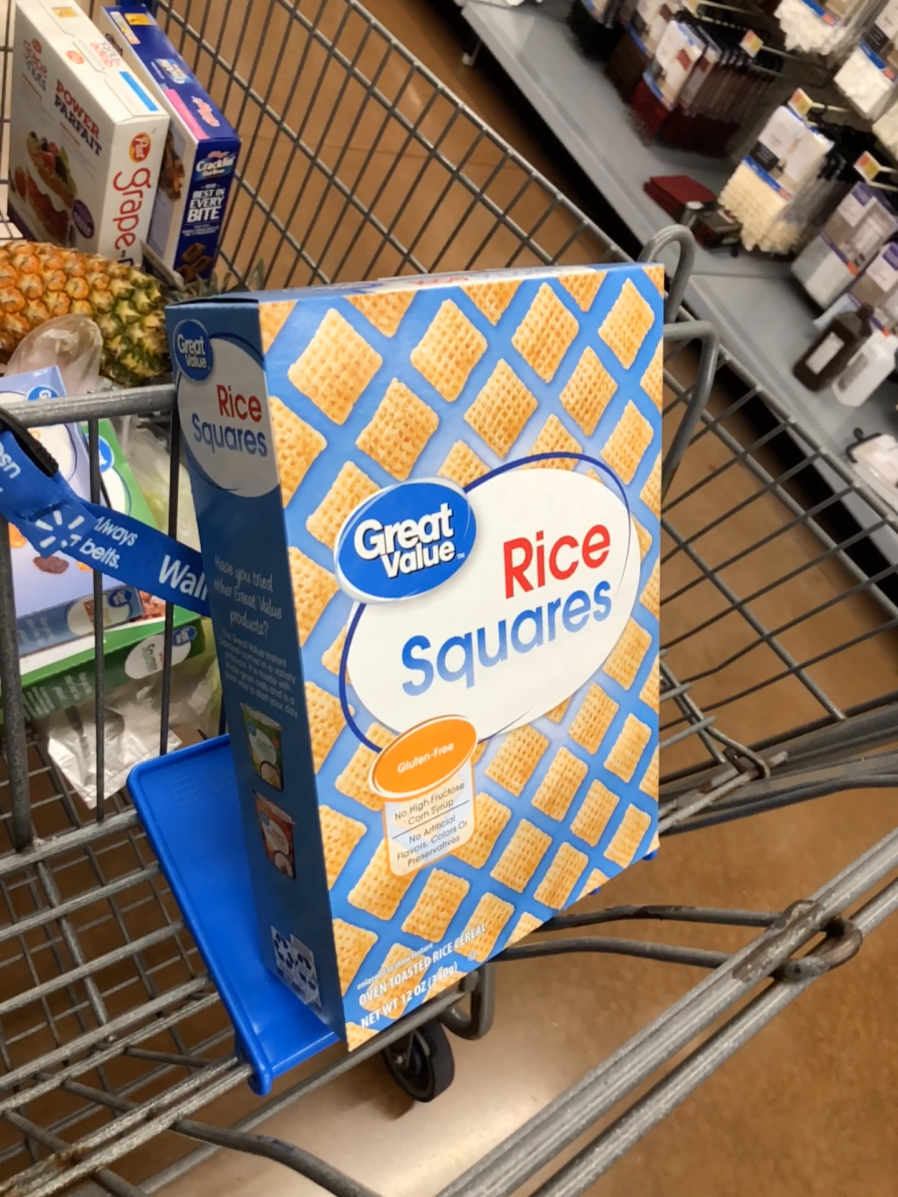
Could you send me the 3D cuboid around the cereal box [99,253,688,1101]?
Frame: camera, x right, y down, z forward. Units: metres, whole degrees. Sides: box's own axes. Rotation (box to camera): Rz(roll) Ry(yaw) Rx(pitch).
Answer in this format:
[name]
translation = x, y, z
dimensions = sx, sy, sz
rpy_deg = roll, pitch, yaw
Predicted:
[cereal box]
translation = 0.001, 0.014, 0.407
dimensions = 0.211, 0.280, 0.080
rpy_deg = -19, 24, -37
